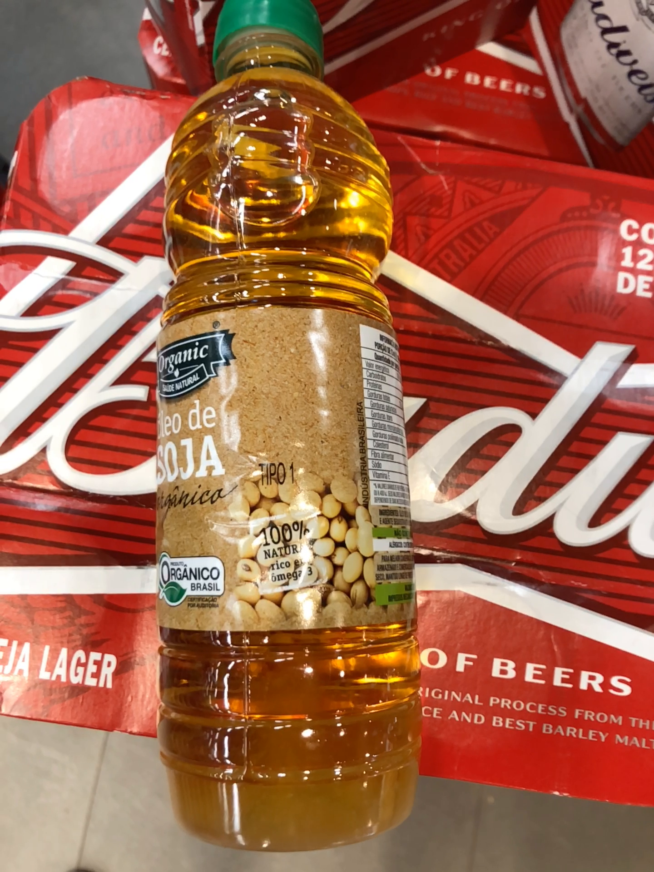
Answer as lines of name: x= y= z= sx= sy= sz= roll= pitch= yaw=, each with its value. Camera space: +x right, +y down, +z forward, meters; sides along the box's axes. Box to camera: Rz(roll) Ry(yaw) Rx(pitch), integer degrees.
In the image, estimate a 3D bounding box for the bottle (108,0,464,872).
bottle: x=-0.015 y=-0.029 z=0.193 sx=0.060 sy=0.060 sz=0.240 roll=6 pitch=78 yaw=-40
